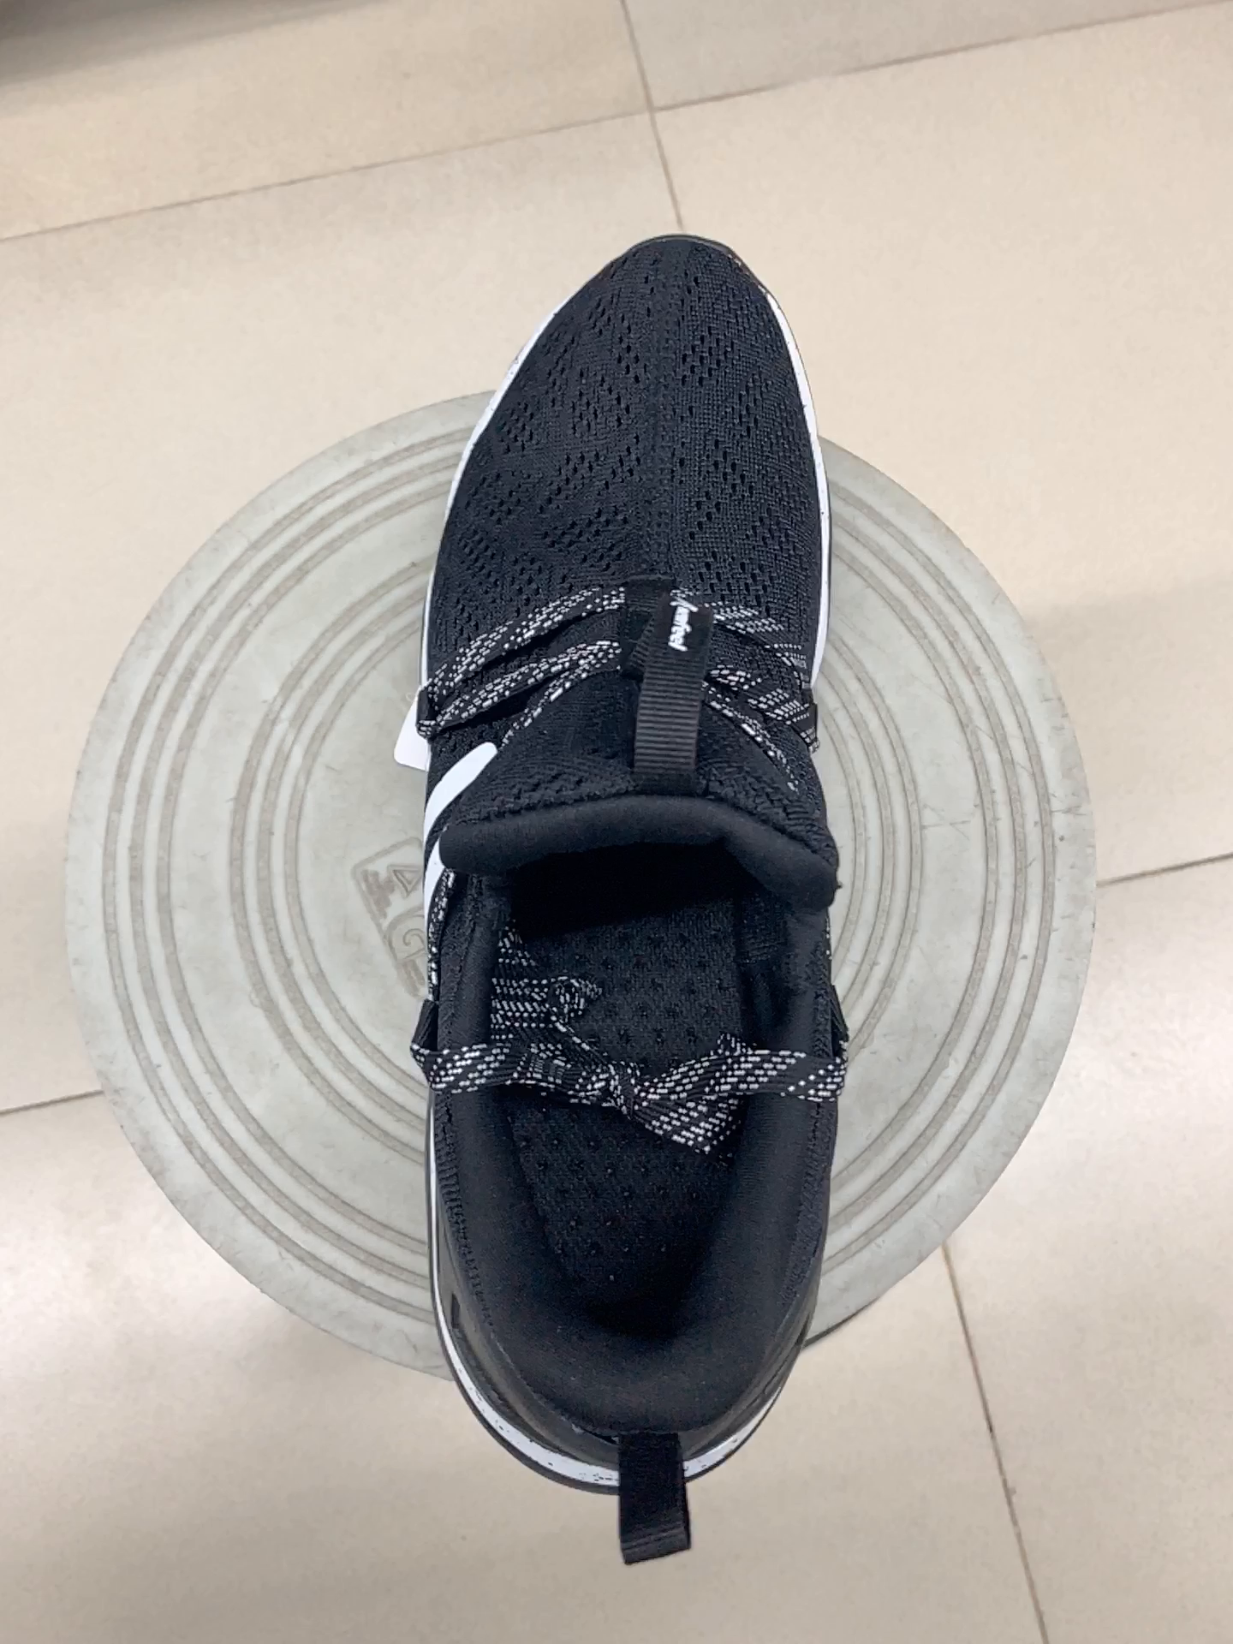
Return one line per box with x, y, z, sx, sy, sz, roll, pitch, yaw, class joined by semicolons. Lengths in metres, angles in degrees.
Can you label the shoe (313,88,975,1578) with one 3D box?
0.006;-0.010;0.280;0.100;0.090;0.290;-1;72;2;shoe
